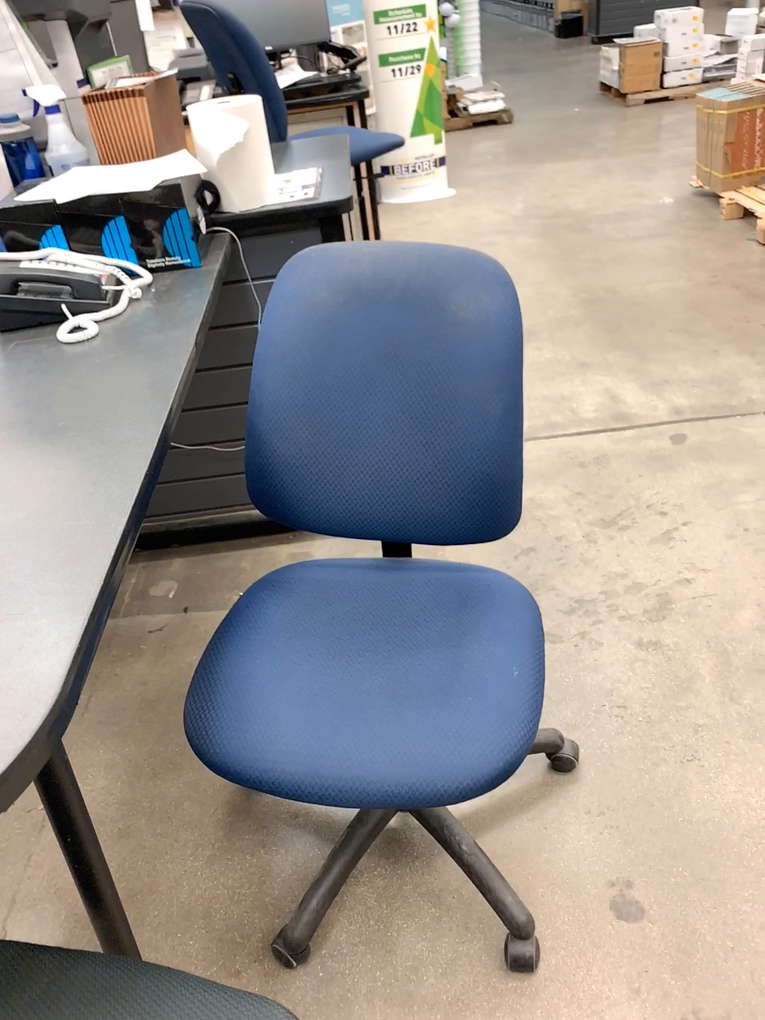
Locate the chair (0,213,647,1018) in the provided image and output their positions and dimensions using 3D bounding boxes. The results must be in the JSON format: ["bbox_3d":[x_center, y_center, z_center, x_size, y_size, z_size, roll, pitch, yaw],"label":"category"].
[{"bbox_3d":[-0.041,0.137,1.158,0.697,0.889,0.664,0,35,12],"label":"chair"}]

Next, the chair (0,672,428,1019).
[{"bbox_3d":[-0.338,0.649,0.627,0.567,0.800,0.544,4,36,18],"label":"chair"}]

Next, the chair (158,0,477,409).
[{"bbox_3d":[-0.213,-1.178,2.860,0.702,1.227,0.851,-21,36,-18],"label":"chair"}]
